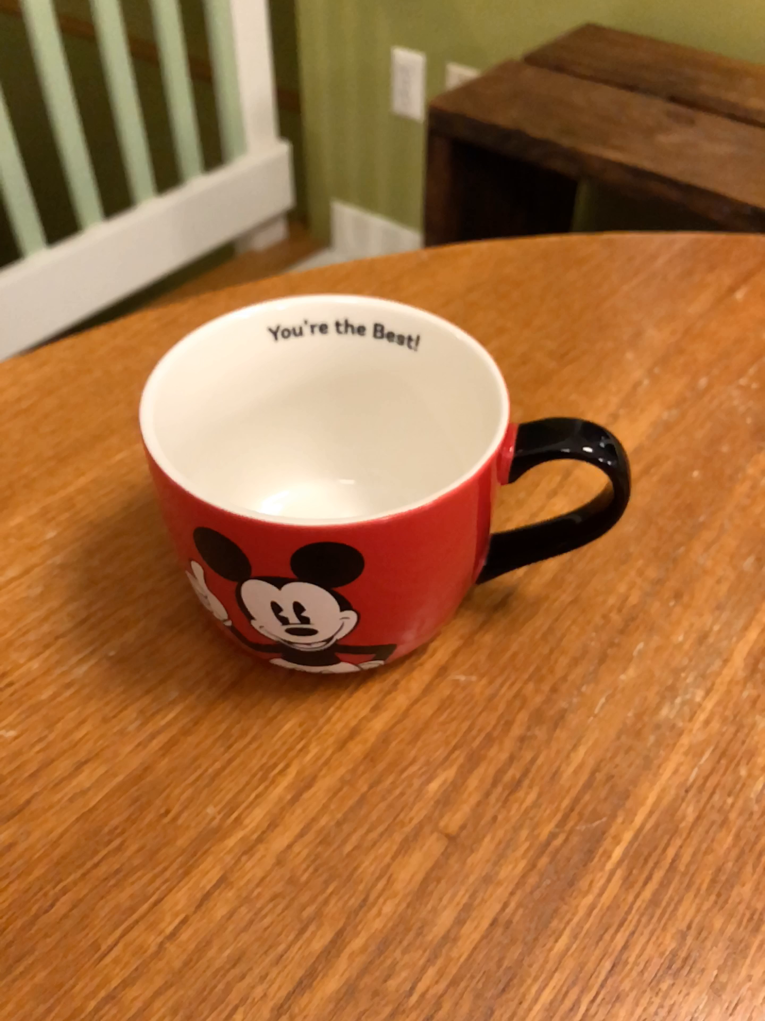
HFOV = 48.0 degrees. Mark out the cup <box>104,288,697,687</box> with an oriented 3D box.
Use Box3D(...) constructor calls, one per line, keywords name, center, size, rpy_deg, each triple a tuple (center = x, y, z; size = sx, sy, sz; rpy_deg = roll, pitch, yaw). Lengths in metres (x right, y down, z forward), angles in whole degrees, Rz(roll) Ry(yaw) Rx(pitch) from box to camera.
Box3D(name="cup", center=(0.003, -0.010, 0.266), size=(0.142, 0.069, 0.103), rpy_deg=(-1, 46, -2))
